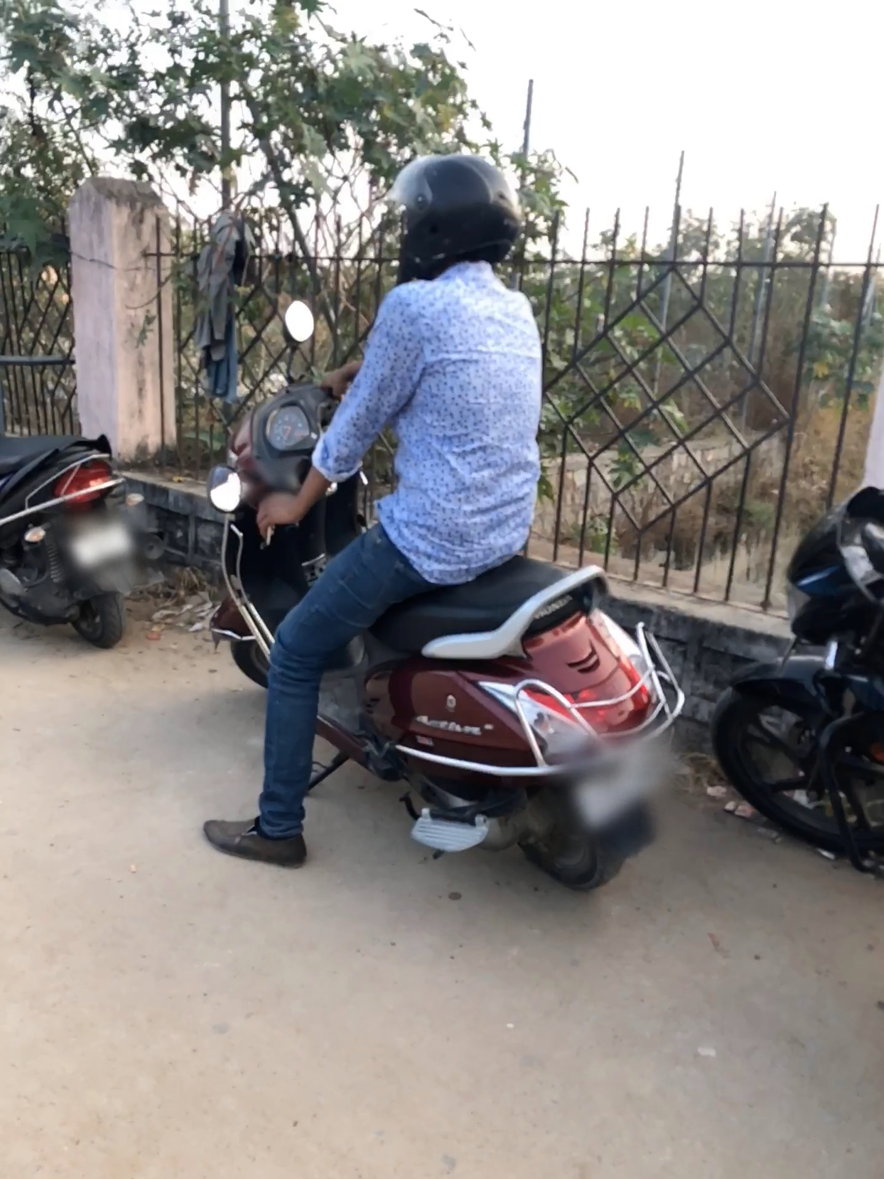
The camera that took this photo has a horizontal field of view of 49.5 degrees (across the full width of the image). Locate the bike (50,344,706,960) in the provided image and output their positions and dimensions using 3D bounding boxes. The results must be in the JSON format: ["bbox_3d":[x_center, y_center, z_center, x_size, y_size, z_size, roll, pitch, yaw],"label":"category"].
[{"bbox_3d":[-0.272,-0.012,2.306,1.490,0.964,0.578,19,22,41],"label":"bike"}]
